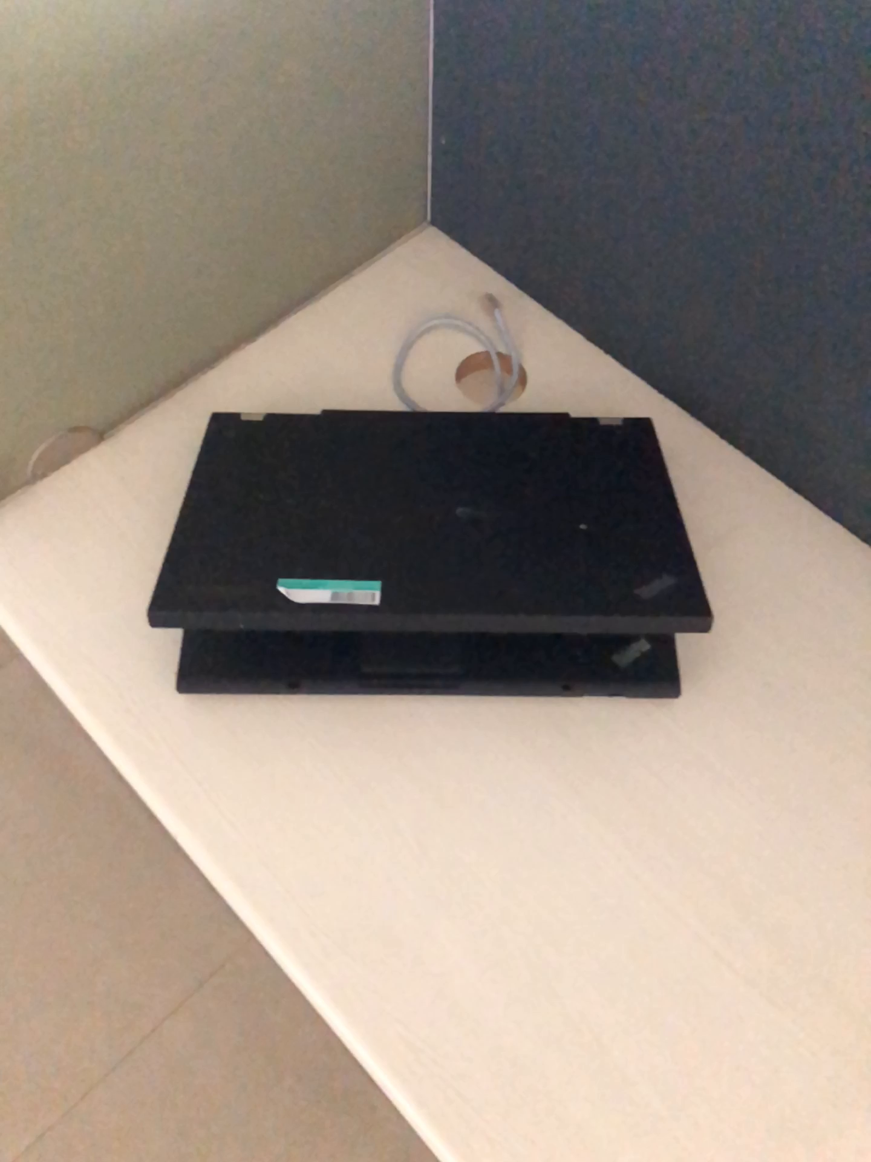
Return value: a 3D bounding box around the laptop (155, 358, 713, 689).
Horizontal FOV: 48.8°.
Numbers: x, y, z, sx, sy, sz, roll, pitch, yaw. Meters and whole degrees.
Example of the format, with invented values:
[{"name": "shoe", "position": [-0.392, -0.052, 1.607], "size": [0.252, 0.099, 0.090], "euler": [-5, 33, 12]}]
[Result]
[{"name": "laptop", "position": [0.000, -0.046, 0.714], "size": [0.363, 0.077, 0.235], "euler": [1, 61, -1]}]
